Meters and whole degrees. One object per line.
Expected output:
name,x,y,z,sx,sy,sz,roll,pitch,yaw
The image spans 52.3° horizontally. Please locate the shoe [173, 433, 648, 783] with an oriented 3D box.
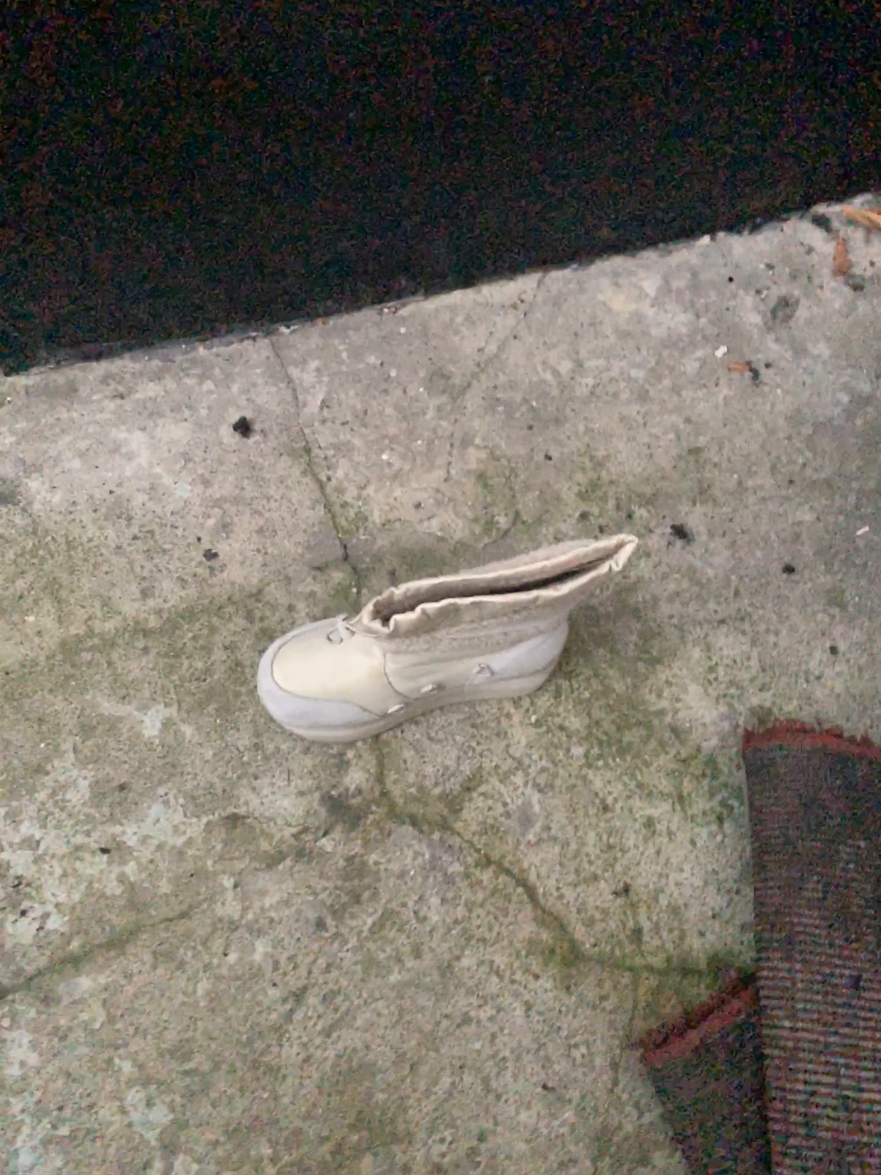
shoe,-0.022,0.037,0.685,0.270,0.309,0.121,-10,69,-4
